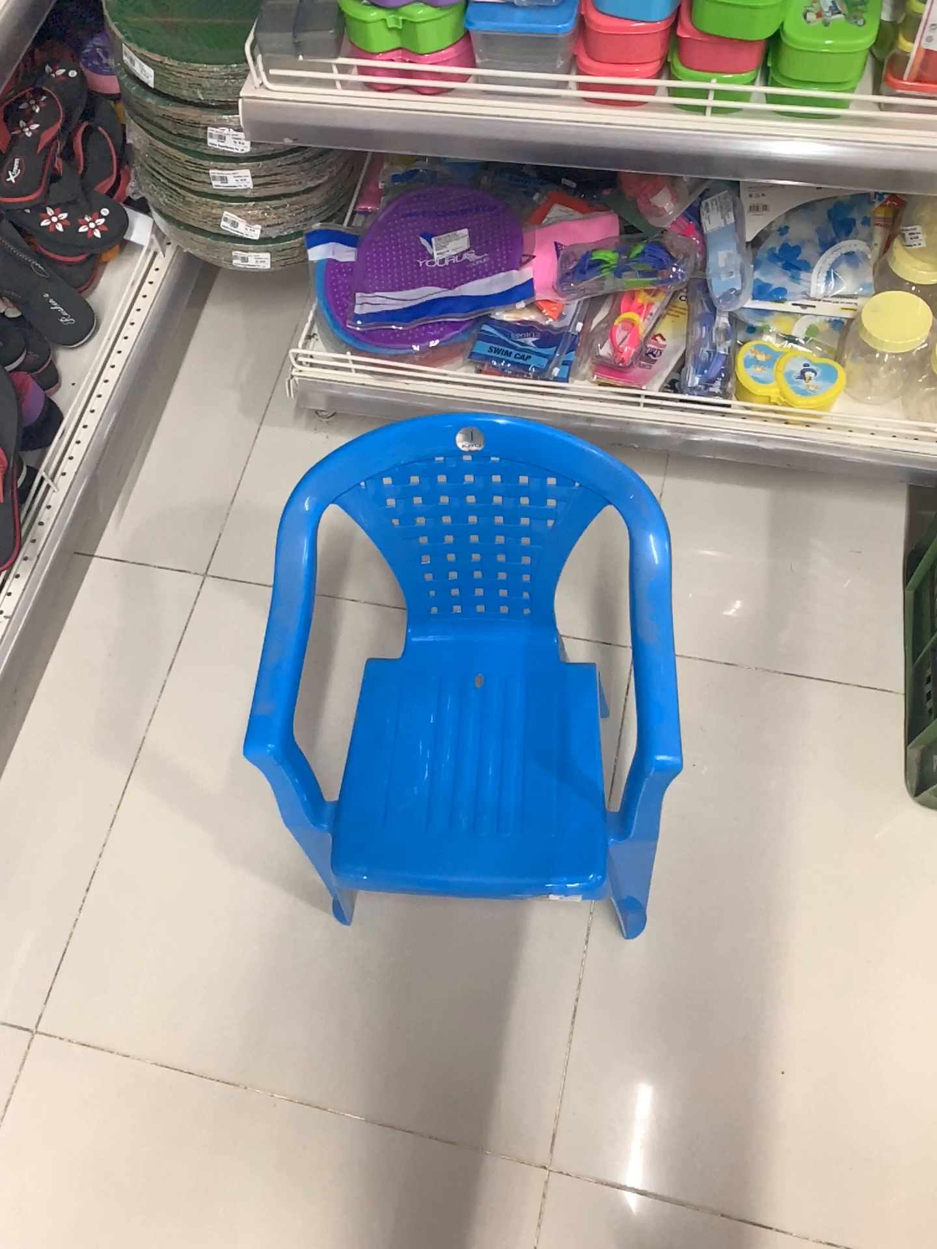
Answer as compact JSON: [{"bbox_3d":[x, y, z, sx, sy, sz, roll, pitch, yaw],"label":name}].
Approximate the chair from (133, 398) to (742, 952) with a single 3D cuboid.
[{"bbox_3d":[0.010,0.087,0.924,0.400,0.509,0.360,2,66,7],"label":"chair"}]
